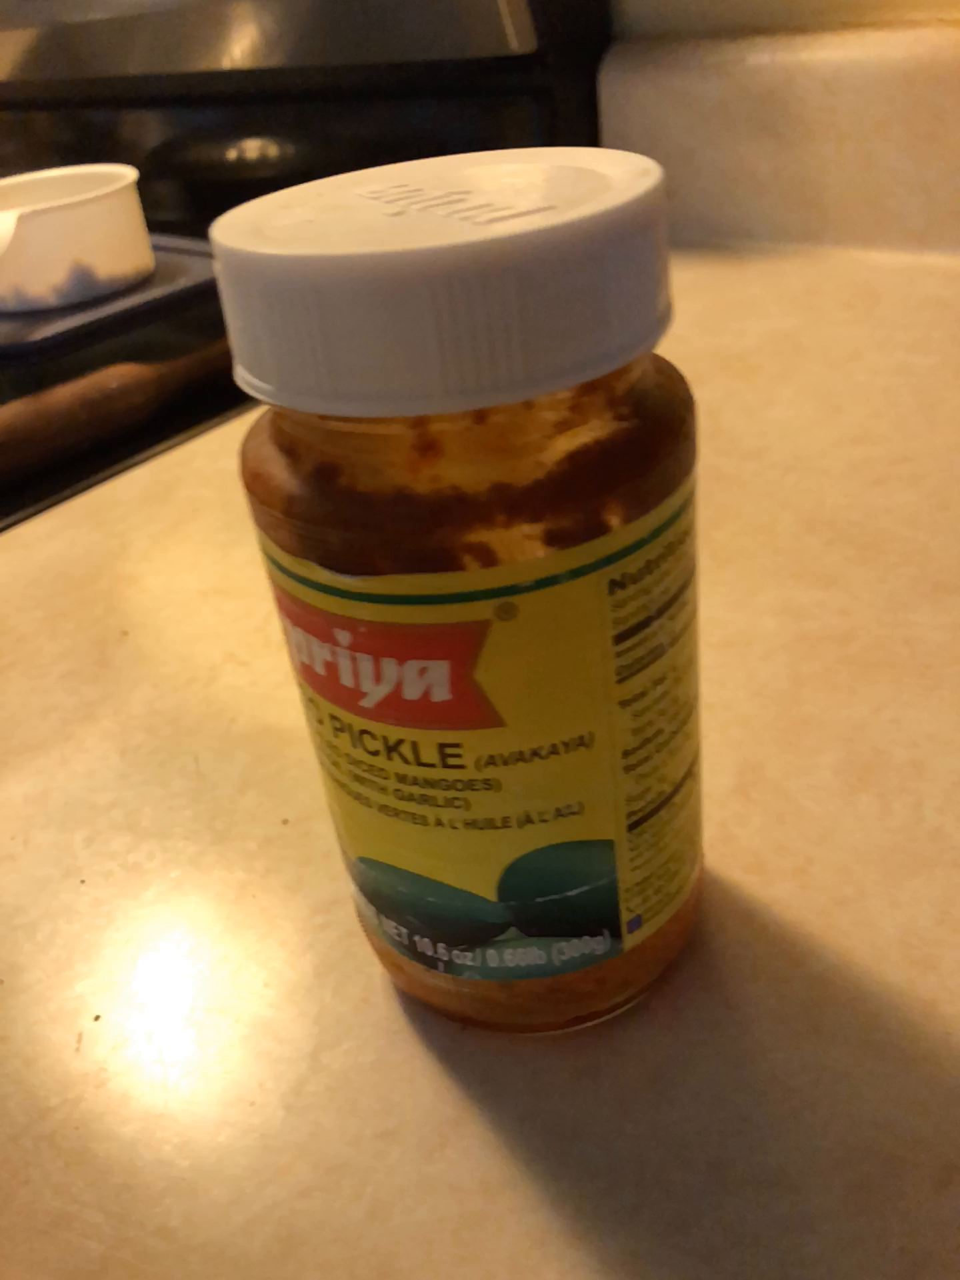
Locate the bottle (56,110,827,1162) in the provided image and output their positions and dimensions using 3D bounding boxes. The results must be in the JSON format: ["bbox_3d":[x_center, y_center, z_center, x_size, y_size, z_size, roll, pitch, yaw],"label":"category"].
[{"bbox_3d":[0.002,-0.002,0.162,0.070,0.130,0.060,21,42,38],"label":"bottle"}]
